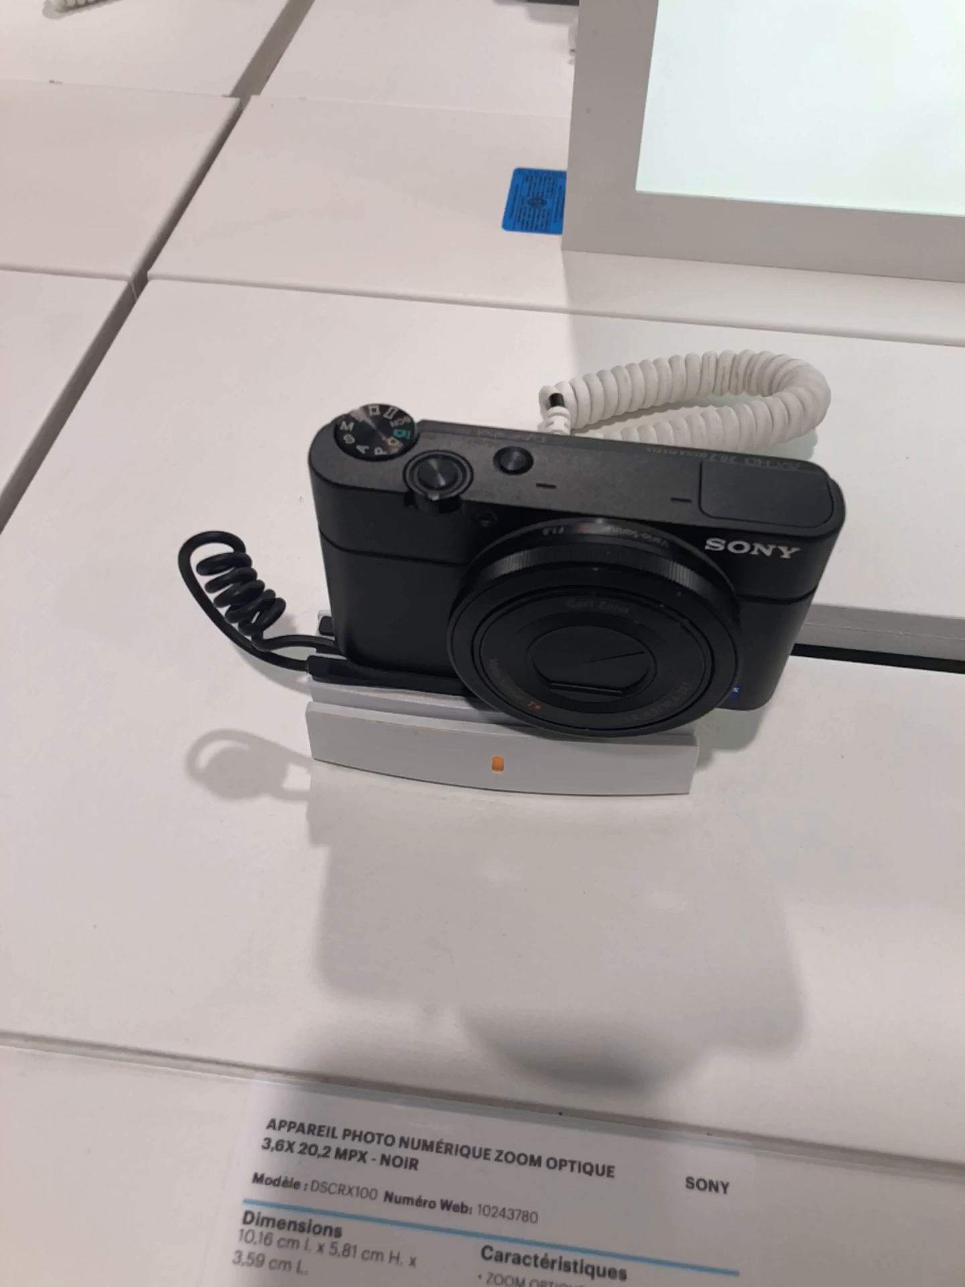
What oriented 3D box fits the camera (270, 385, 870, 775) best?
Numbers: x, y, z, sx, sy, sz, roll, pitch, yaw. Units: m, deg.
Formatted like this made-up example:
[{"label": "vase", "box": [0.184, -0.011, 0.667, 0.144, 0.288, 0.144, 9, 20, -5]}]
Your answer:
[{"label": "camera", "box": [0.016, -0.012, 0.211, 0.100, 0.056, 0.036, 7, 49, 5]}]
